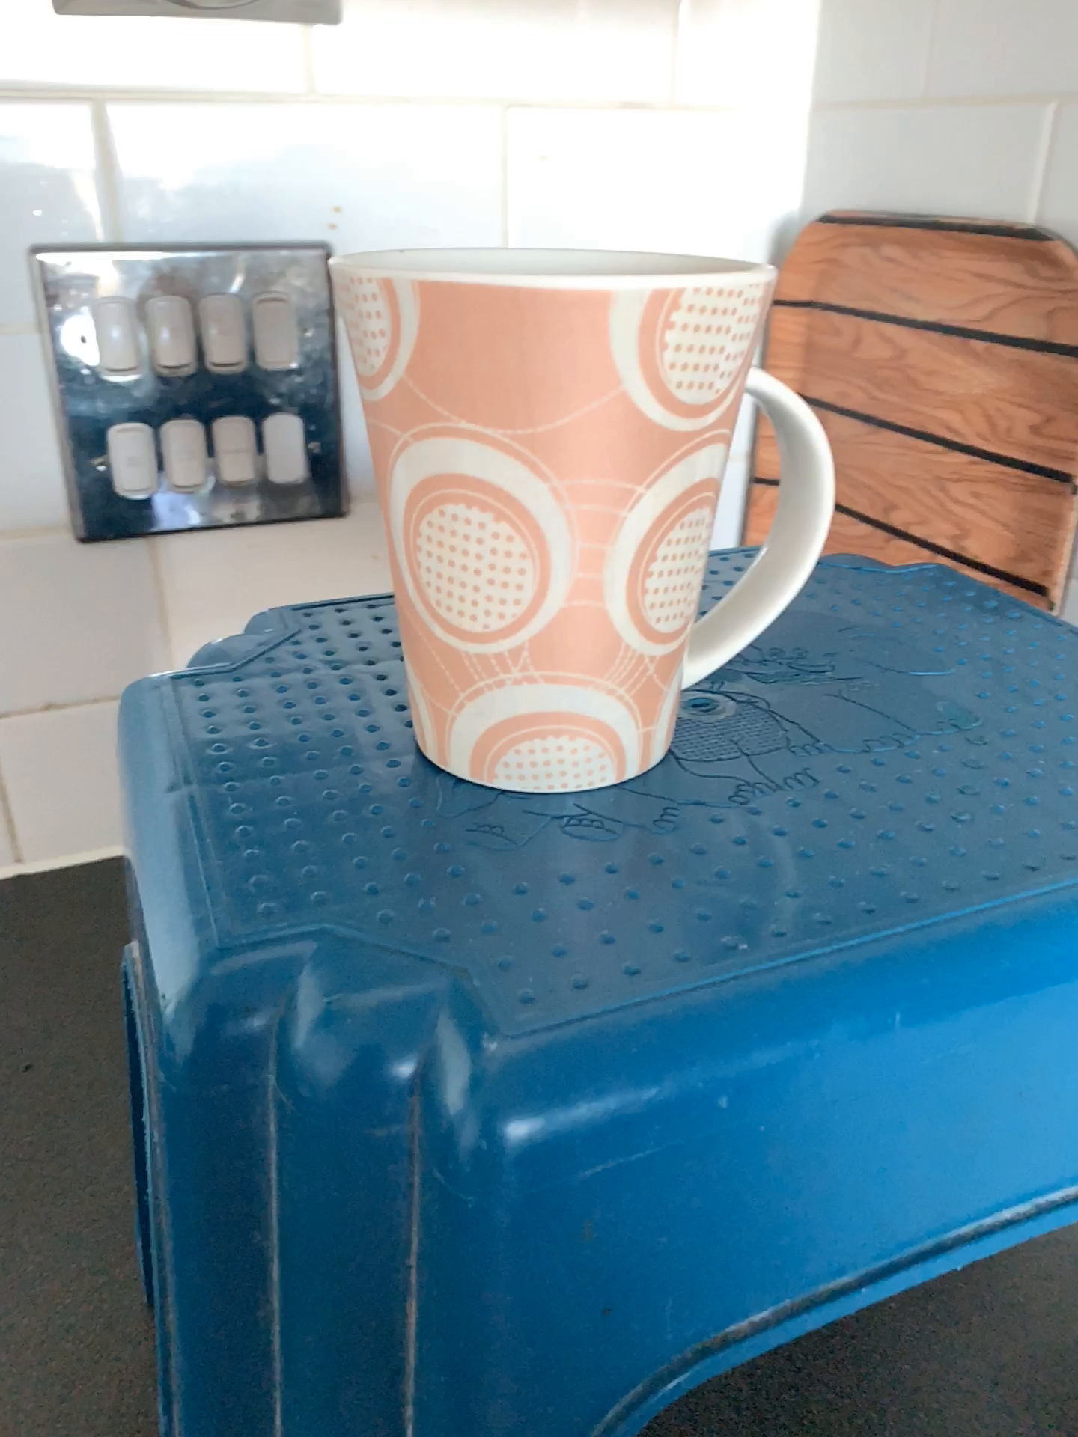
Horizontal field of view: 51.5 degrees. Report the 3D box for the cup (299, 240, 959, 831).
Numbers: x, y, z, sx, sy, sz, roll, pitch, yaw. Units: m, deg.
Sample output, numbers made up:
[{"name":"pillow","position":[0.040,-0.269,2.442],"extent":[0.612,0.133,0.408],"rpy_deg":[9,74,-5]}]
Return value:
[{"name":"cup","position":[0.015,-0.050,0.257],"extent":[0.116,0.105,0.078],"rpy_deg":[-10,28,-21]}]
